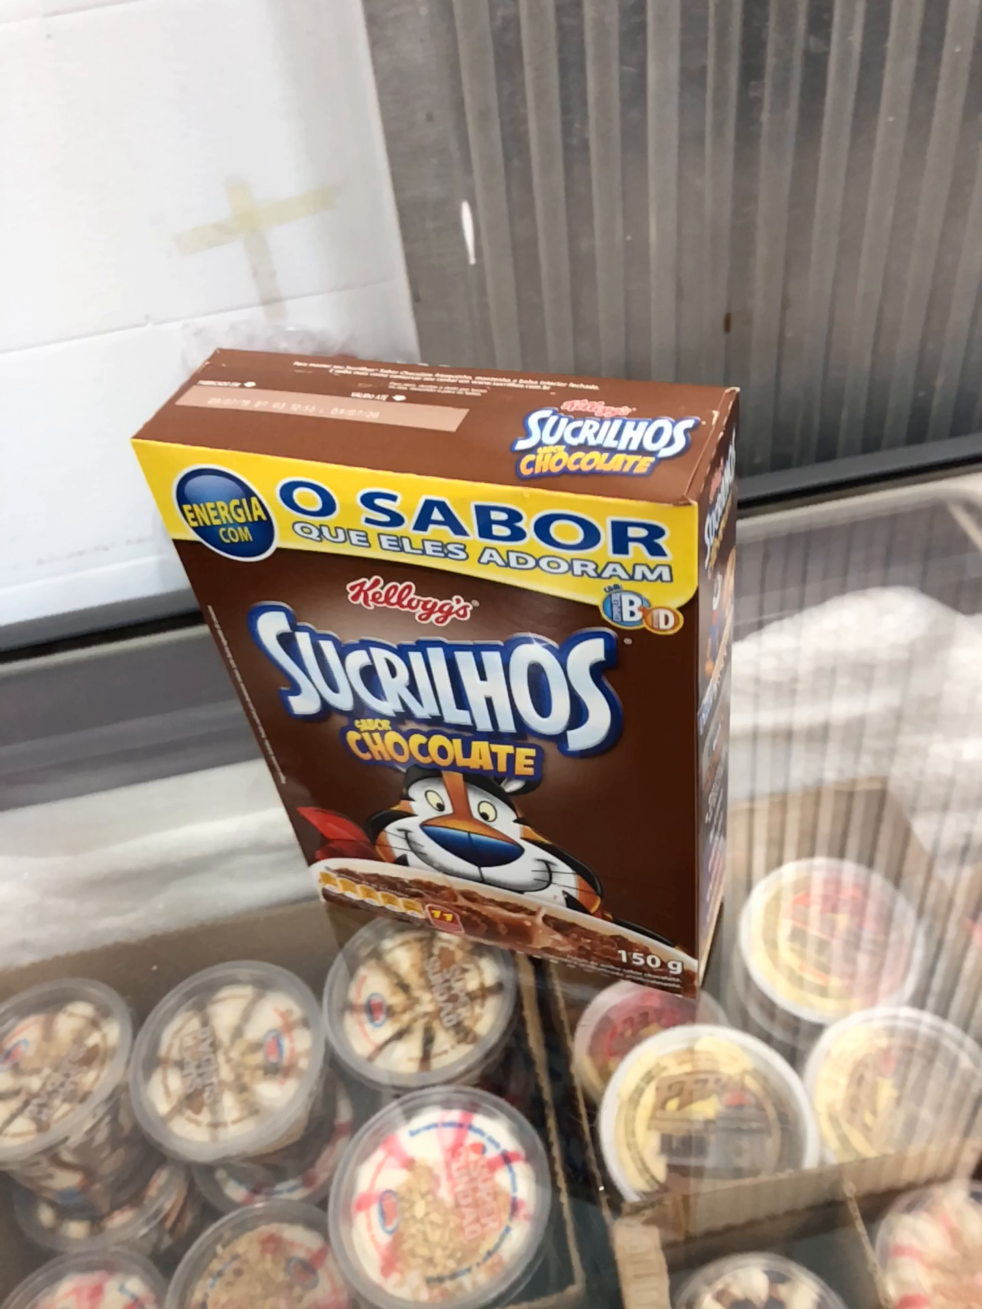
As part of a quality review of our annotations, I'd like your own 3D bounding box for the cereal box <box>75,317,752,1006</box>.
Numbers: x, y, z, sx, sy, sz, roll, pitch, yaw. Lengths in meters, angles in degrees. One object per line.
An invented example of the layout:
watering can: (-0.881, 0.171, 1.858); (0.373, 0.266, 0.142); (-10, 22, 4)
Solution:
cereal box: (-0.008, 0.012, 0.325); (0.150, 0.209, 0.050); (9, 47, 18)
